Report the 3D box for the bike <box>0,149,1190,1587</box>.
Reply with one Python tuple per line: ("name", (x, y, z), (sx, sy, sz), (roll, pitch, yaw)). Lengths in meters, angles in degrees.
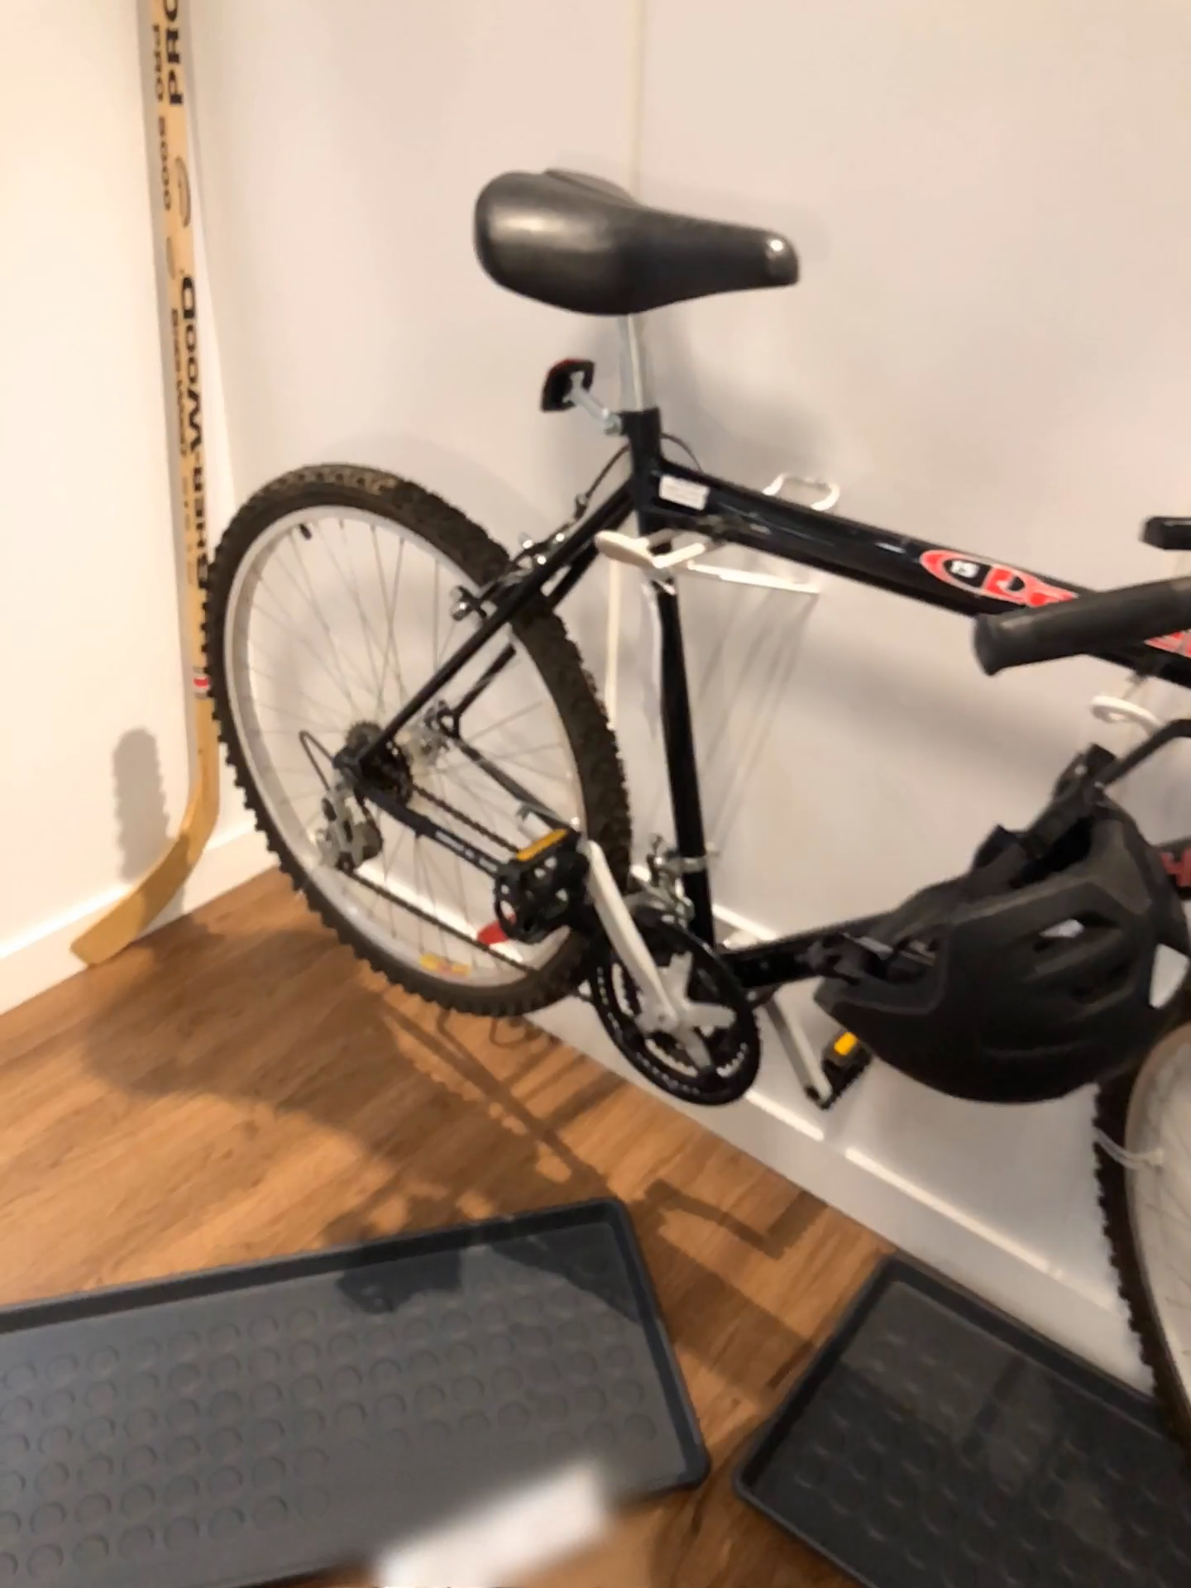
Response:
("bike", (0.125, 0.117, 1.134), (0.559, 0.845, 1.572), (-25, 46, -37))
